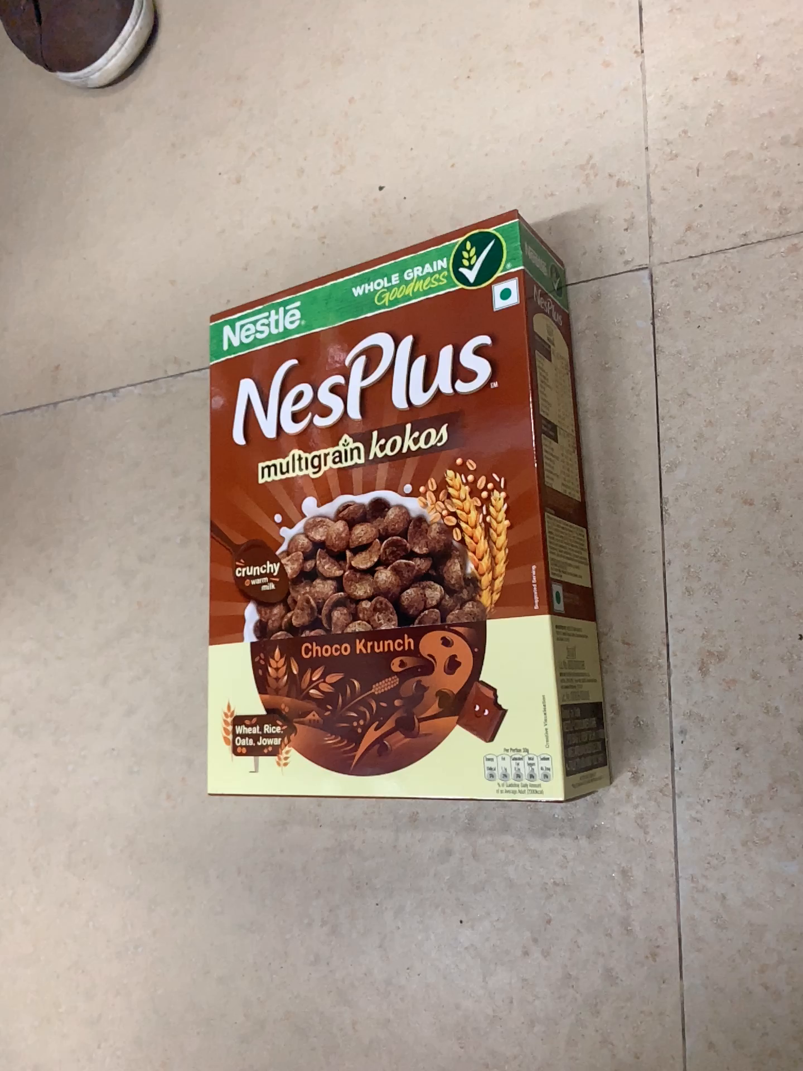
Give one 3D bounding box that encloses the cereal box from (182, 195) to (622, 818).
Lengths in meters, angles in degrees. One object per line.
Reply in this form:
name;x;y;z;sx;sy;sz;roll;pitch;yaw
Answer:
cereal box;-0.008;-0.003;0.451;0.211;0.090;0.280;-8;78;29
